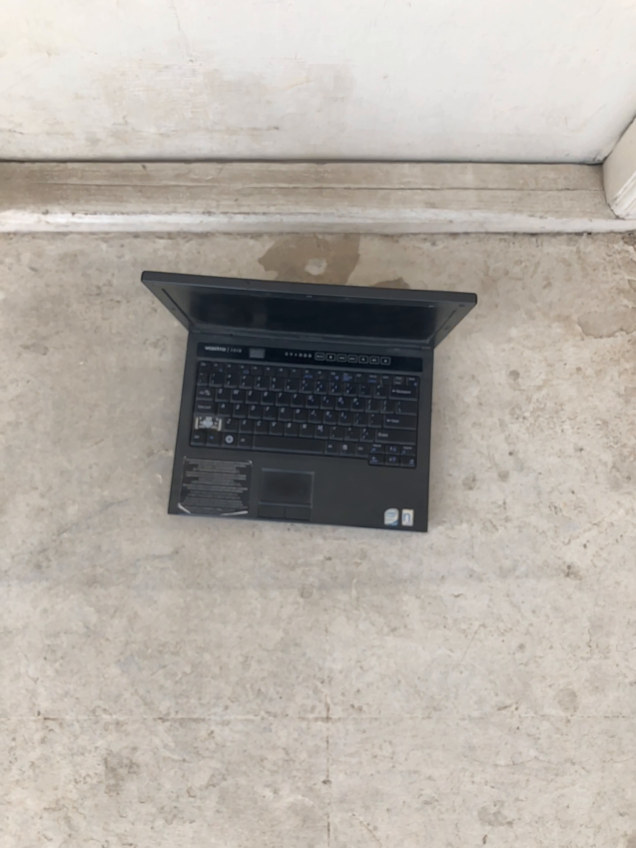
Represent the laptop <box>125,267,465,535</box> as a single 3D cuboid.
[{"bbox_3d":[-0.018,-0.008,0.746,0.292,0.219,0.214,4,79,1],"label":"laptop"}]
